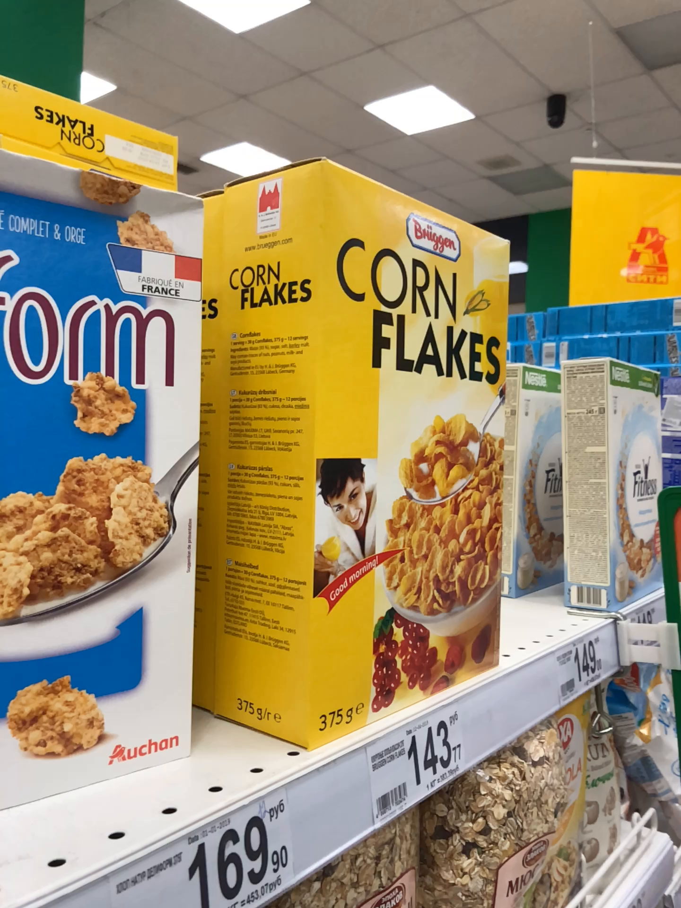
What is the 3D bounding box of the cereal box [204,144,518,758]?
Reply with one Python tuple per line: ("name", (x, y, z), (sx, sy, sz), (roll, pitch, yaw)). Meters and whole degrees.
("cereal box", (0.023, -0.002, 0.470), (0.080, 0.300, 0.200), (3, 1, 39))
